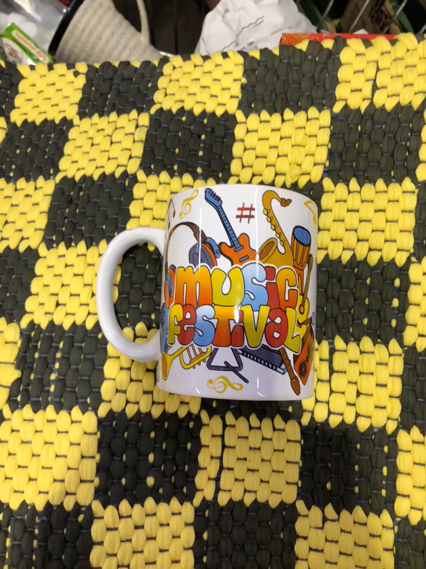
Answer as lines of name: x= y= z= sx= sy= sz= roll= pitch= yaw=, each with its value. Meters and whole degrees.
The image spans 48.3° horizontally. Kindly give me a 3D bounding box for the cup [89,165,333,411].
cup: x=0.003 y=0.006 z=0.246 sx=0.100 sy=0.070 sz=0.100 roll=-6 pitch=78 yaw=29
